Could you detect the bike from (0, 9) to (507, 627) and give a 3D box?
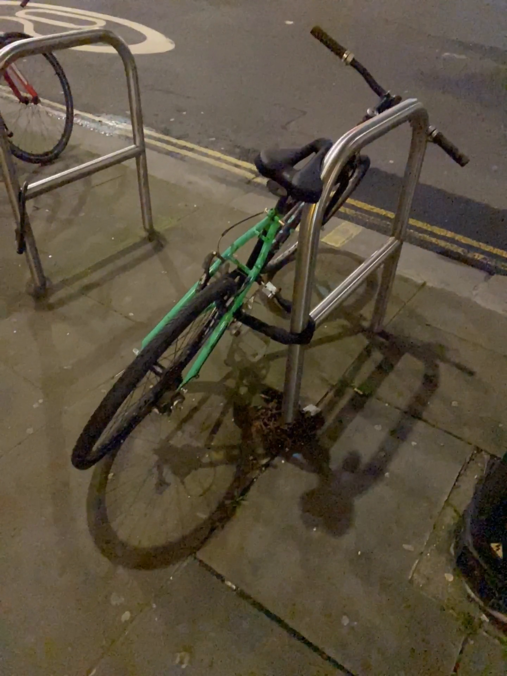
[{"bbox_3d":[0.259,-0.269,1.578,0.639,1.014,1.695,20,44,20],"label":"bike"}]
